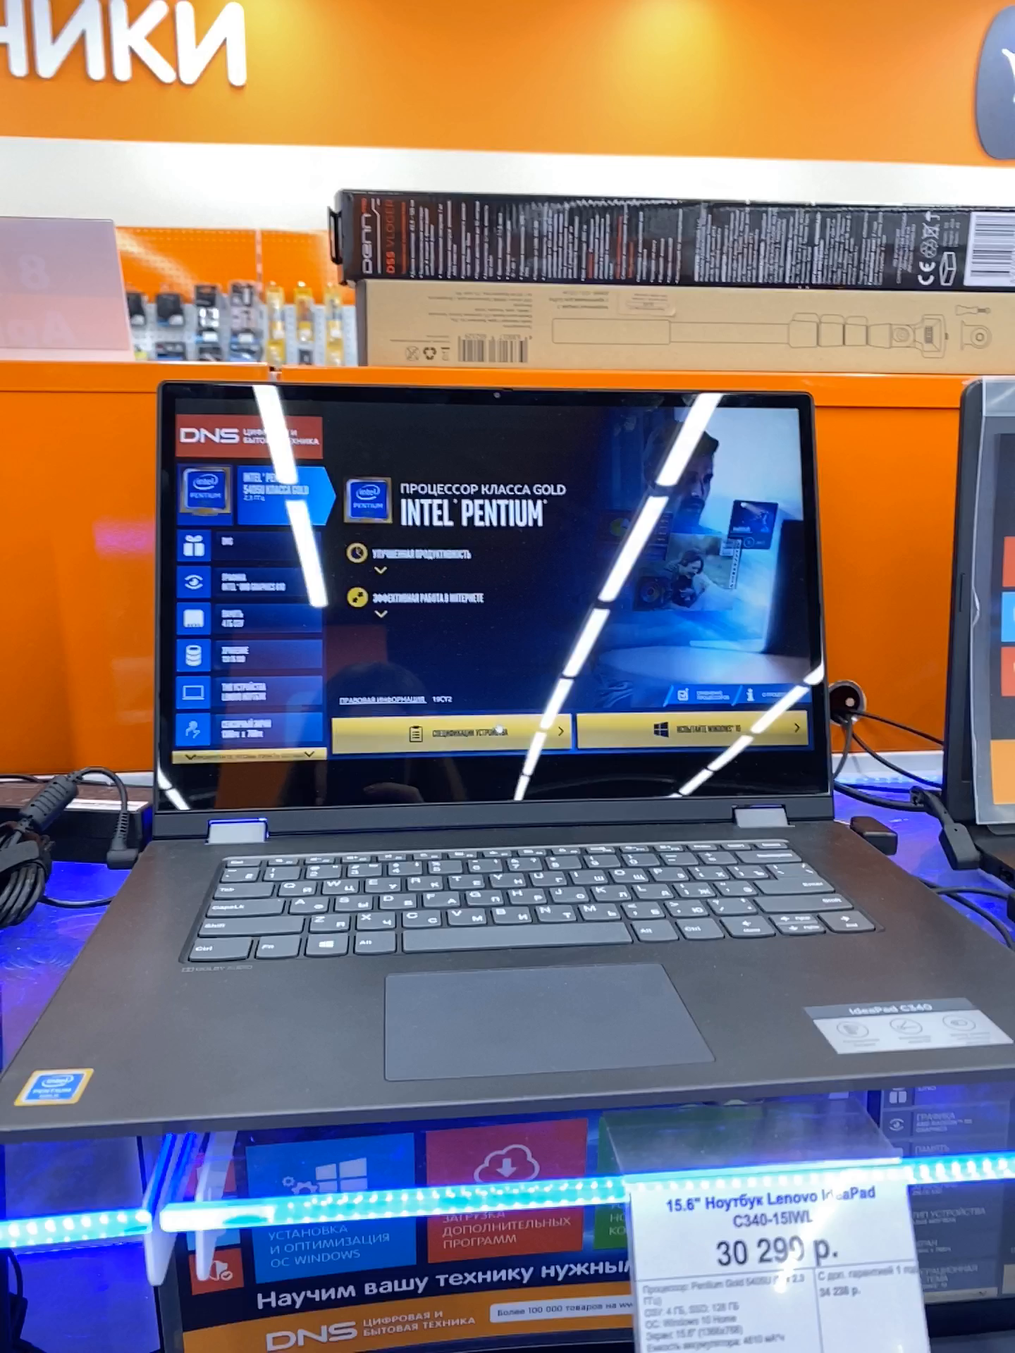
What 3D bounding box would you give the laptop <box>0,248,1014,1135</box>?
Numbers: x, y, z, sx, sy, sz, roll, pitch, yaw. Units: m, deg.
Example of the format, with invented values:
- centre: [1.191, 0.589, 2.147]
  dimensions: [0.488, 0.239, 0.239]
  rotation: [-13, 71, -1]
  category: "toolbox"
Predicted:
- centre: [0.005, -0.018, 0.448]
  dimensions: [0.362, 0.232, 0.318]
  rotation: [-1, 10, -8]
  category: "laptop"
